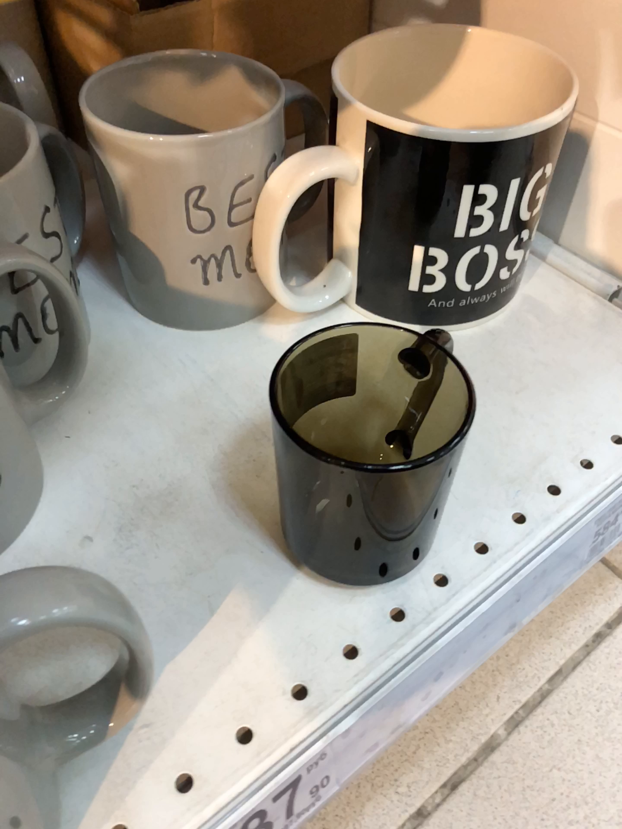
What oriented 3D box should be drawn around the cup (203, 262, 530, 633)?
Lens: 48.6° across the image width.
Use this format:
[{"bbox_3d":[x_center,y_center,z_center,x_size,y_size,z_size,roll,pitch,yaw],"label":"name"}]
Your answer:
[{"bbox_3d":[0.024,0.009,0.276,0.082,0.074,0.105,22,51,18],"label":"cup"}]
